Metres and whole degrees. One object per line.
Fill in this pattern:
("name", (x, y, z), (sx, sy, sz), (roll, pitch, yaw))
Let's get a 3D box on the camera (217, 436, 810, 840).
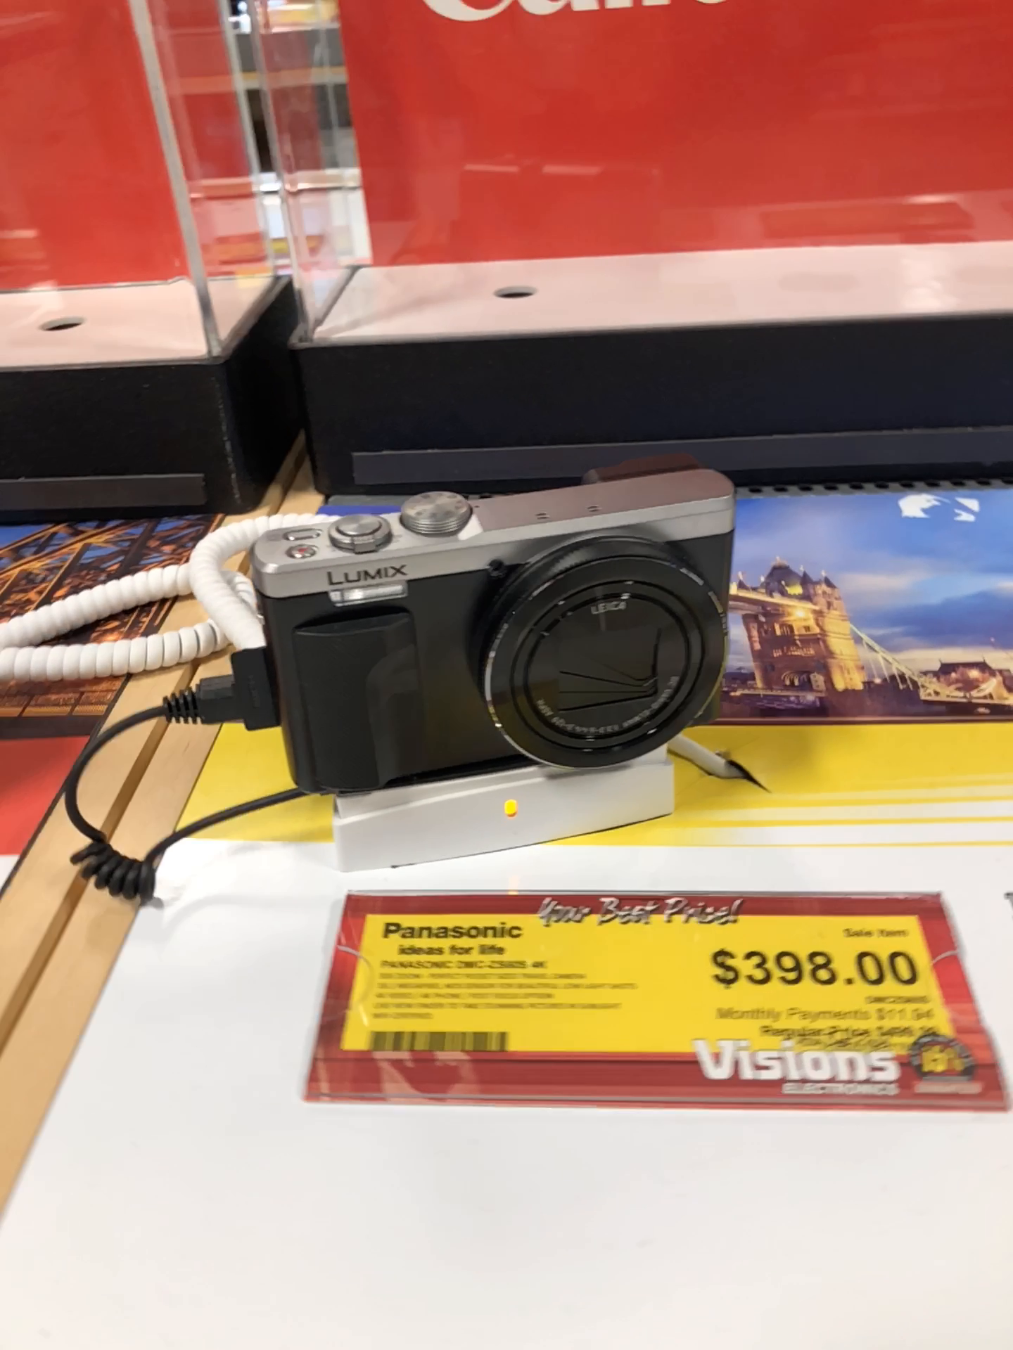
("camera", (0.001, -0.010, 0.254), (0.120, 0.060, 0.040), (-10, 34, -8))
